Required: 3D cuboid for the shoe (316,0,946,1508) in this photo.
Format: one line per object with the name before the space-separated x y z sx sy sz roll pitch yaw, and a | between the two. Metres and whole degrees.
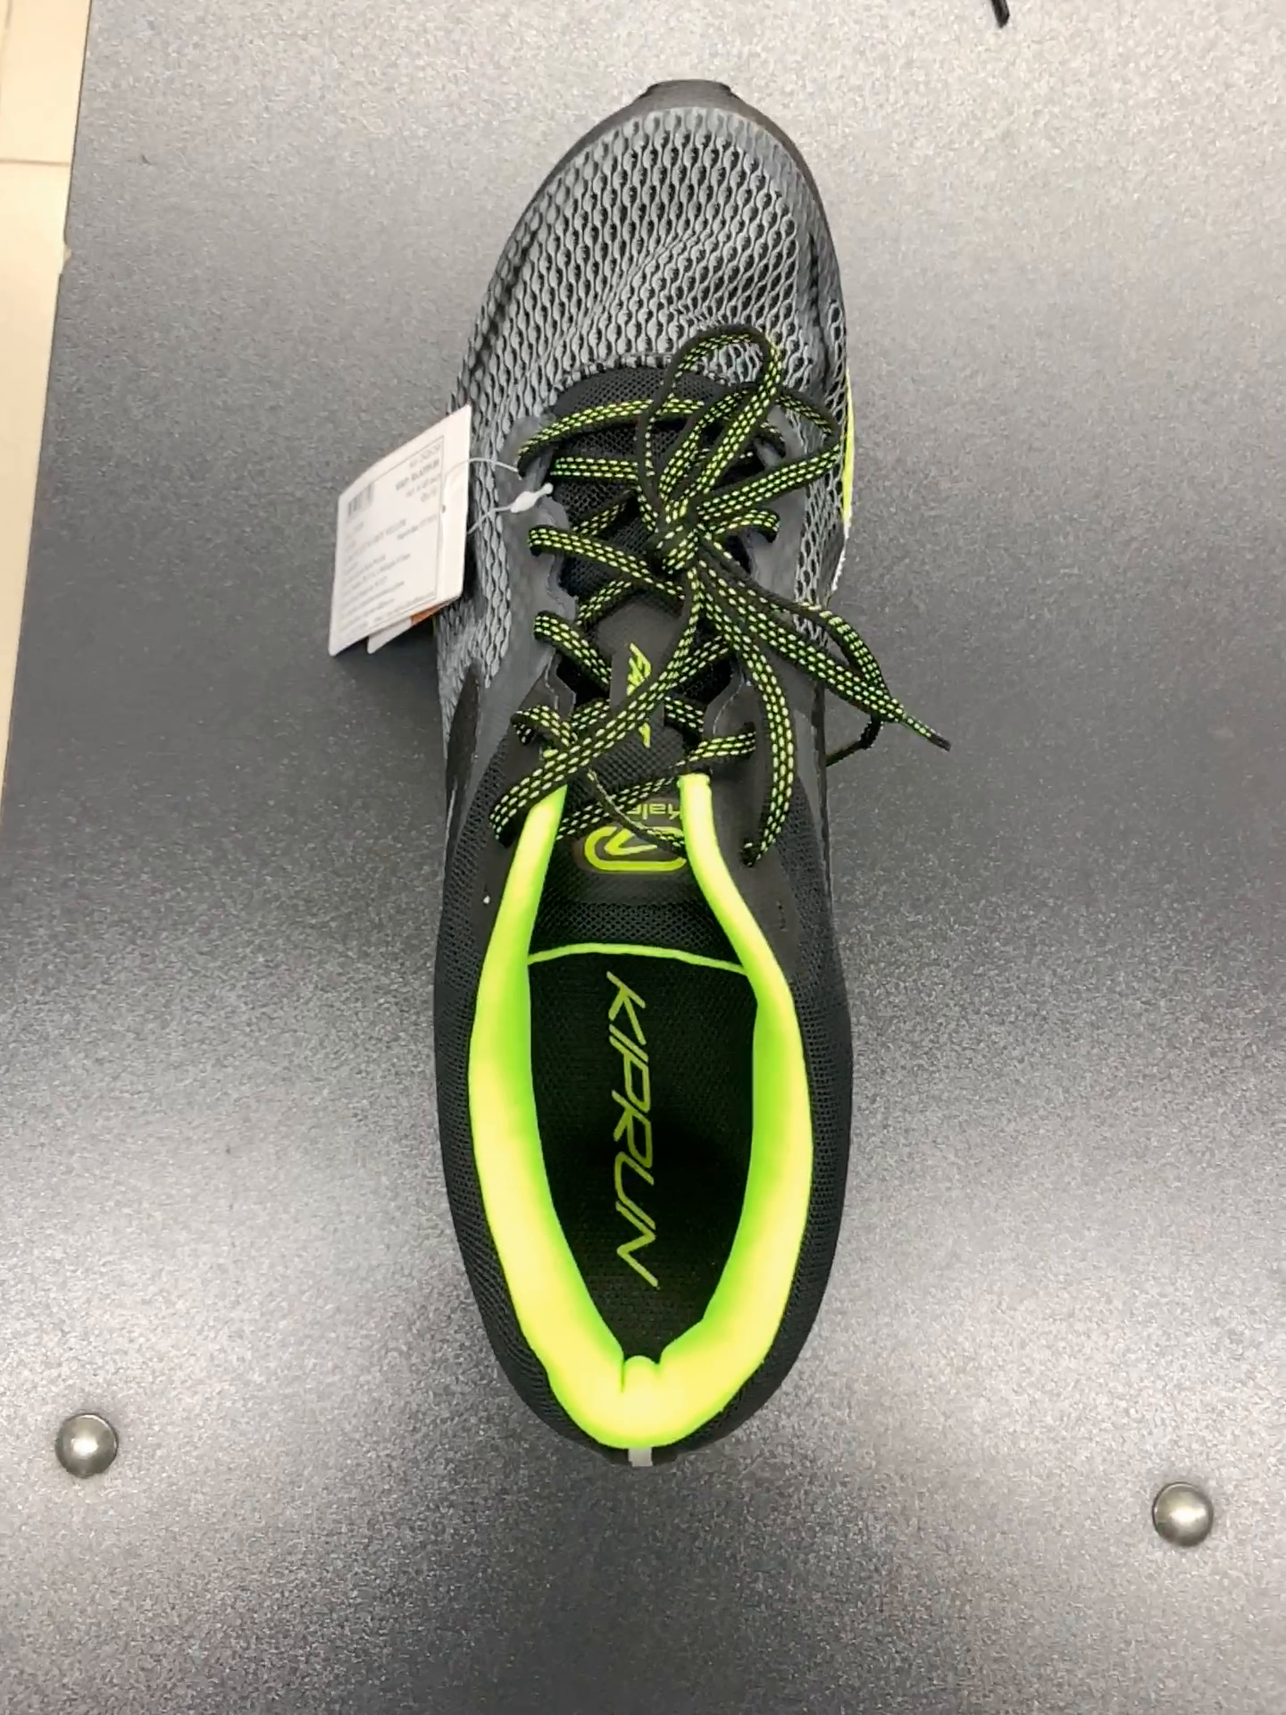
shoe | 0.002 -0.036 0.302 0.110 0.110 0.310 1 84 1
